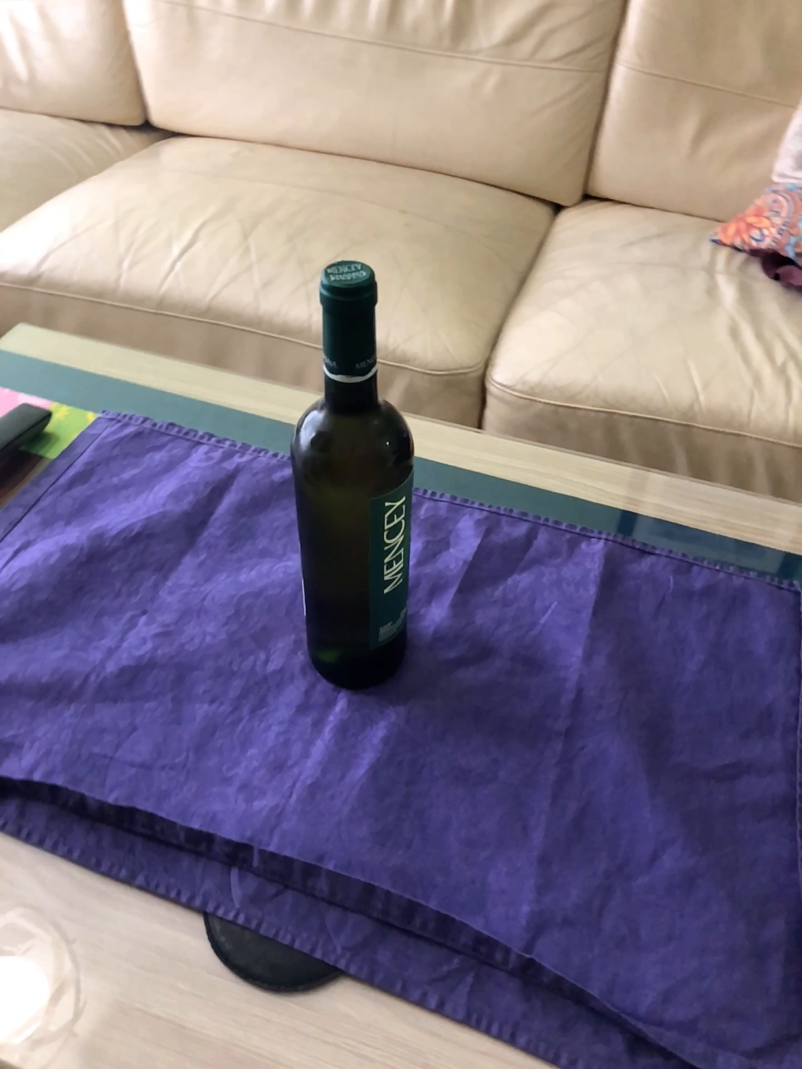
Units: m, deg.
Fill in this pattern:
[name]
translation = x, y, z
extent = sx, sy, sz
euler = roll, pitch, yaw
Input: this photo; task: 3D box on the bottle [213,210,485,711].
[bottle]
translation = -0.027, -0.028, 0.510
extent = 0.090, 0.269, 0.090
euler = 1, 45, -1
